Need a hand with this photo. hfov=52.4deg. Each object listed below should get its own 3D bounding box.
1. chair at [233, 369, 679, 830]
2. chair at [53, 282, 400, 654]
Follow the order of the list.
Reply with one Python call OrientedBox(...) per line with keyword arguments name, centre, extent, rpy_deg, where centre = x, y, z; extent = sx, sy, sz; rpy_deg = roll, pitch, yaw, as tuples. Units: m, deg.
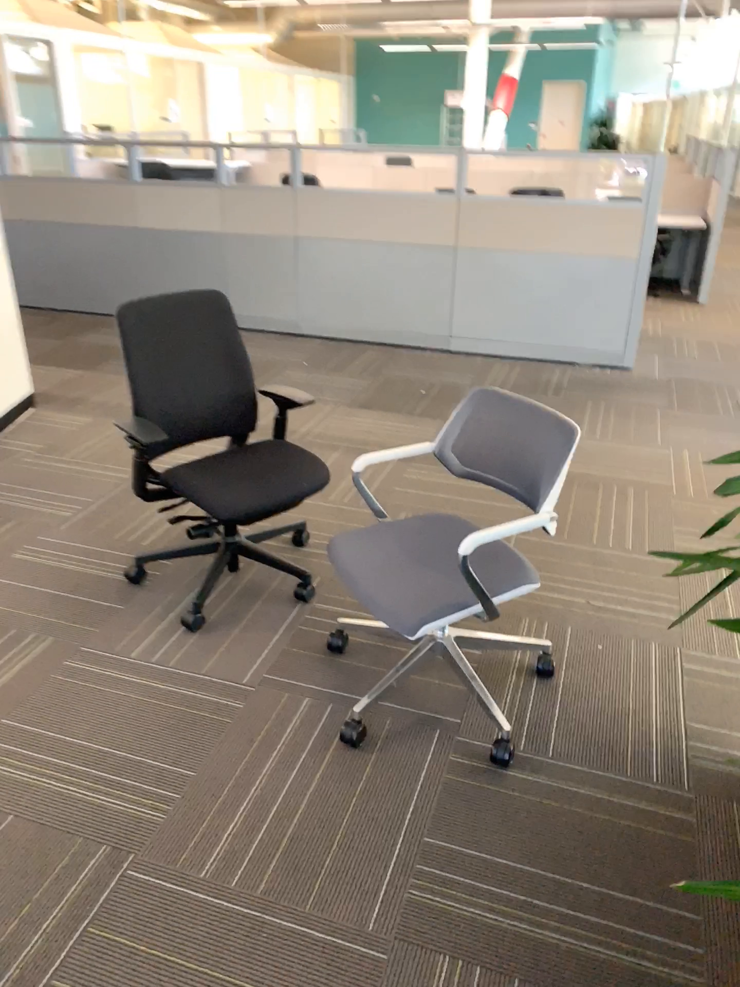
OrientedBox(name="chair", centre=(0.184, 0.186, 2.061), extent=(0.791, 0.756, 0.804), rpy_deg=(-16, 30, -31))
OrientedBox(name="chair", centre=(-0.487, -0.170, 2.596), extent=(0.801, 0.885, 0.854), rpy_deg=(-17, 31, -32))
